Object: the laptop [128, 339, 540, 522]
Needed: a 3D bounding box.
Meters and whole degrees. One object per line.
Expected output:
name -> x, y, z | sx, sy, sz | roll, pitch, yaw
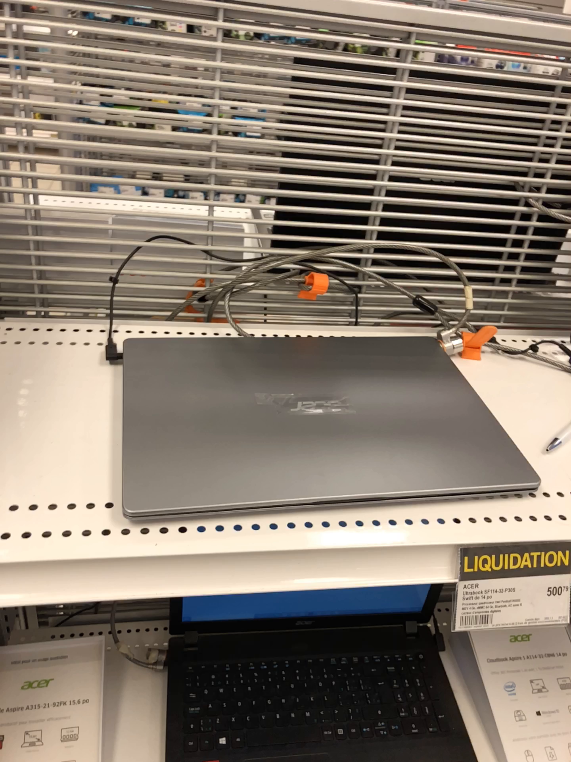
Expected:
laptop -> 0.026, 0.026, 0.550 | 0.316, 0.006, 0.220 | -1, 36, -13
